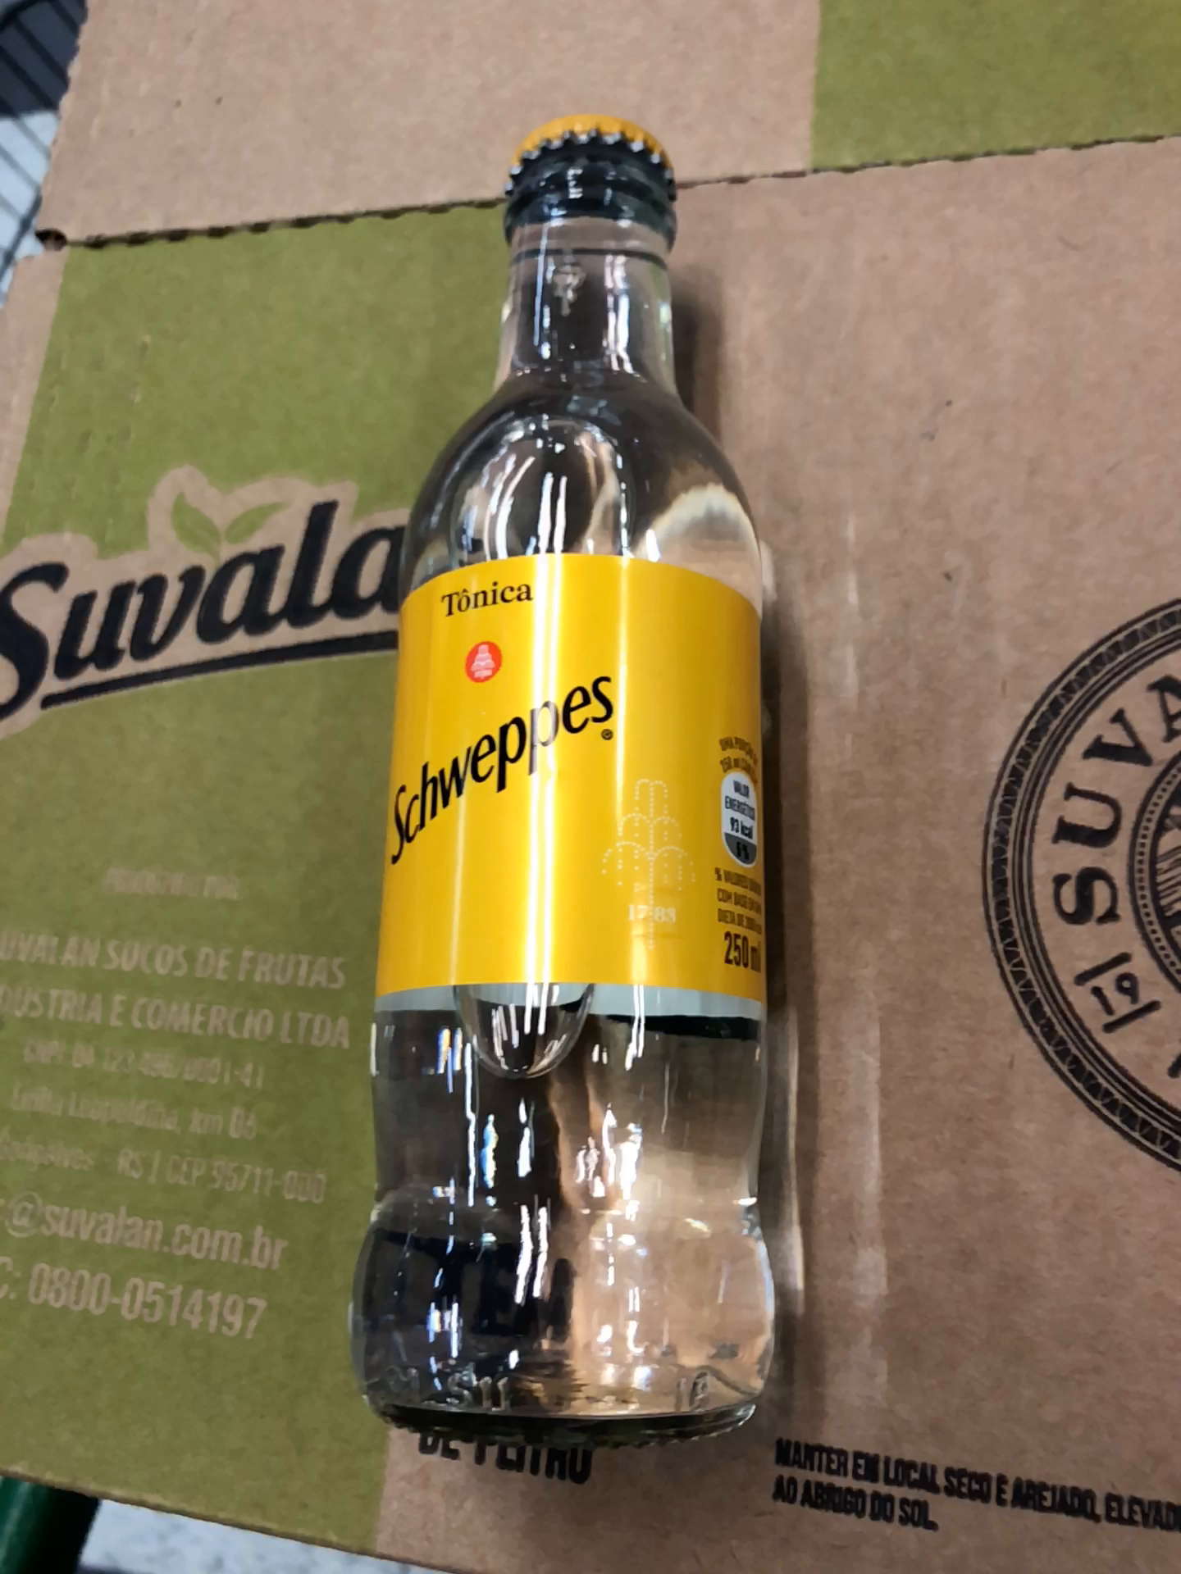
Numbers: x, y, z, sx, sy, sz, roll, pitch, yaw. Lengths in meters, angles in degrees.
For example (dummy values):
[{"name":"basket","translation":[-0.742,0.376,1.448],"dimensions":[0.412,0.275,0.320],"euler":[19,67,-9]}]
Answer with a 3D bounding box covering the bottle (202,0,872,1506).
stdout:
[{"name":"bottle","translation":[0.000,-0.033,0.206],"dimensions":[0.070,0.070,0.240],"euler":[-4,73,14]}]
